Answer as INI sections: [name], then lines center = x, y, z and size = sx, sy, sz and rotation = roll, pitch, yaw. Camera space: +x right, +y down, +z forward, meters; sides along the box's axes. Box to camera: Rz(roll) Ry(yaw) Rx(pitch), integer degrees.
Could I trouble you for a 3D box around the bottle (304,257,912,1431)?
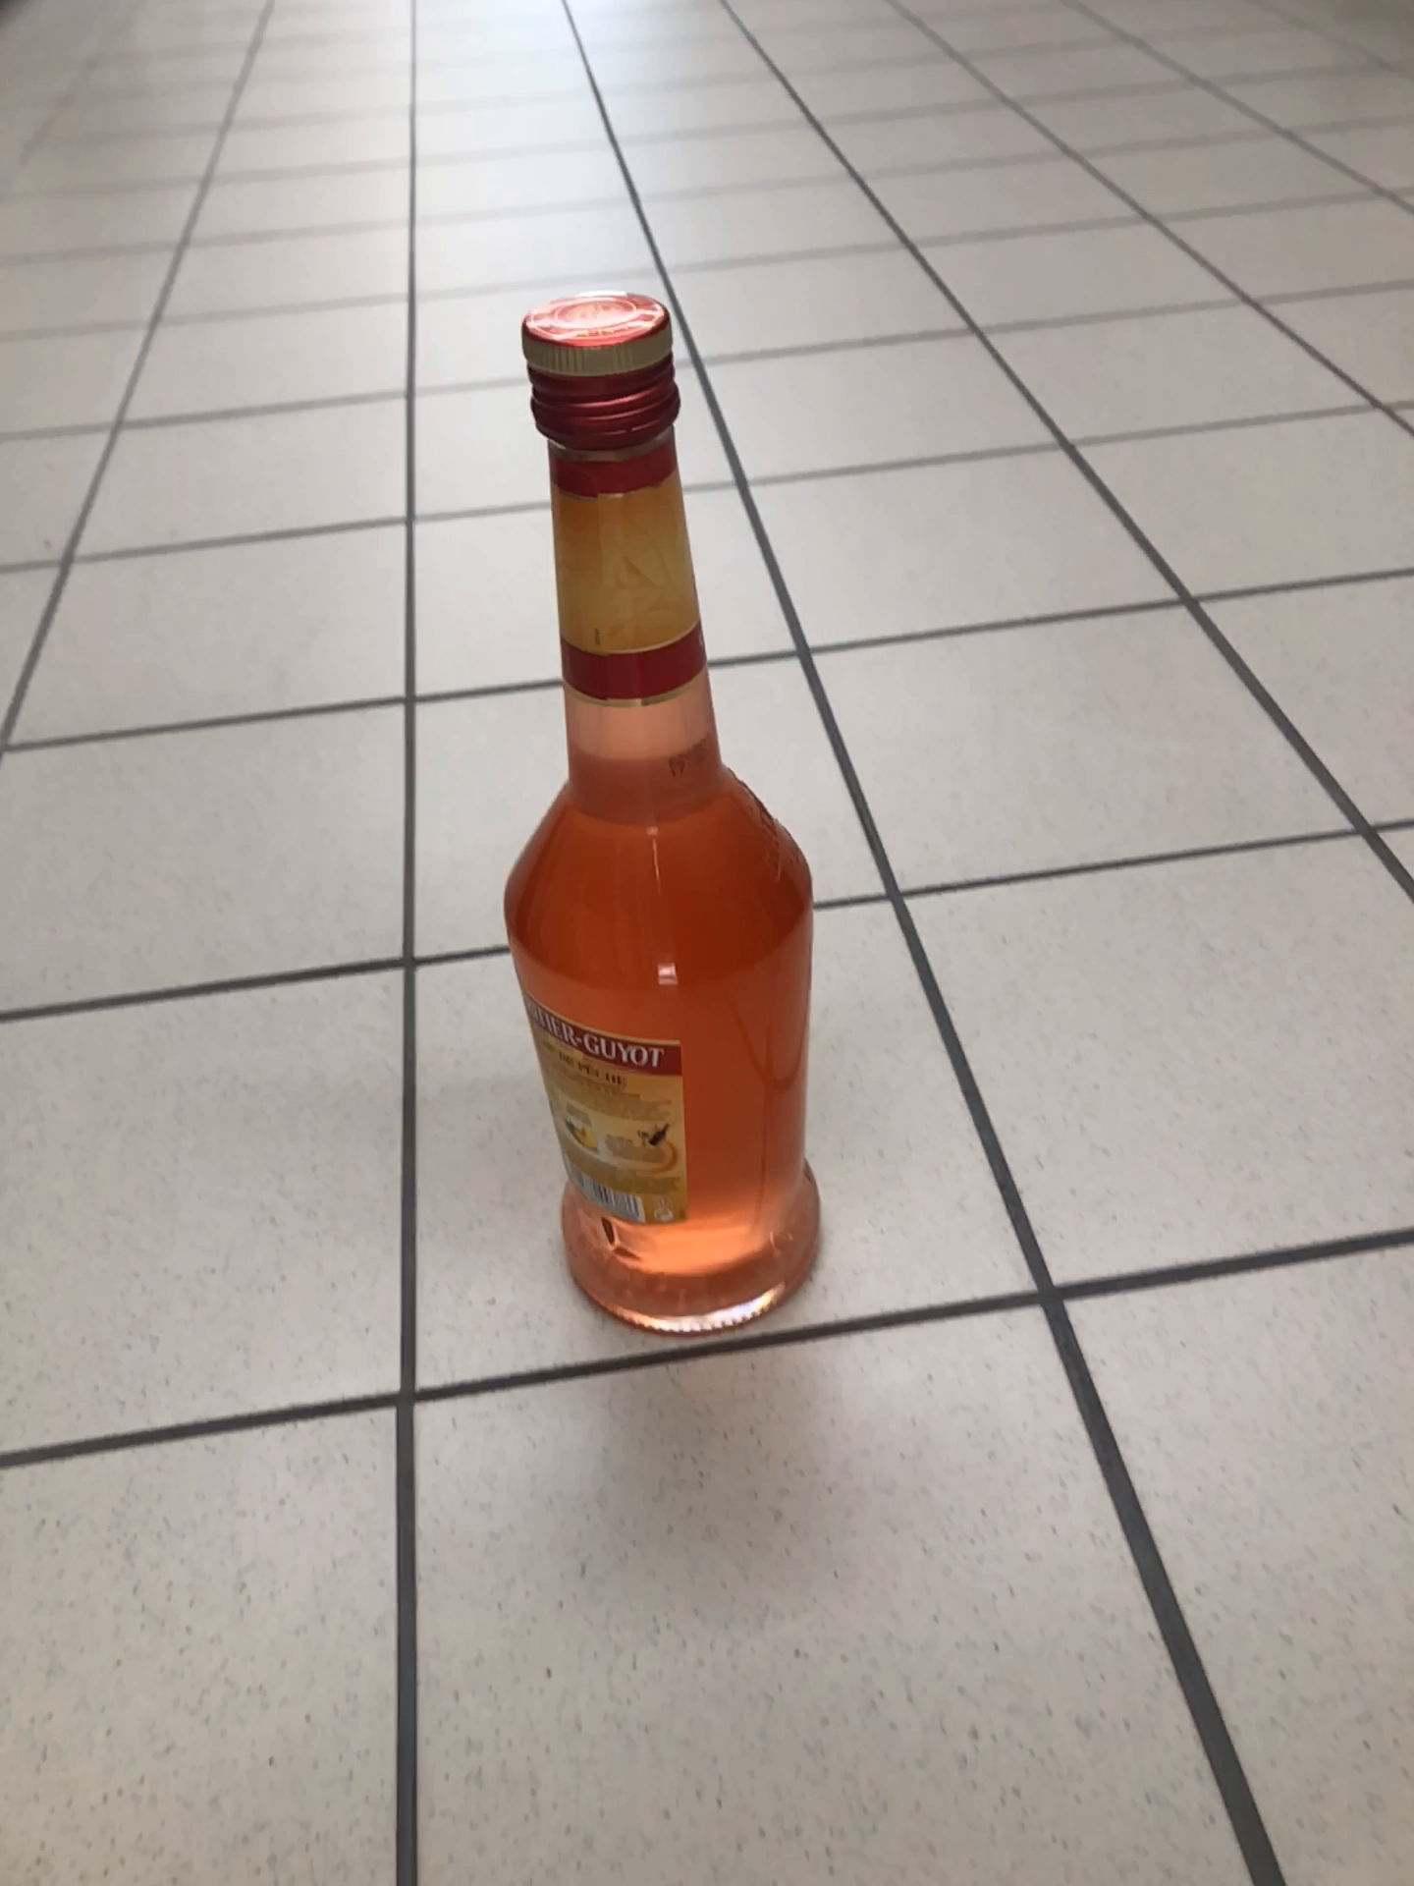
[bottle]
center = -0.012, -0.010, 0.420
size = 0.090, 0.298, 0.090
rotation = -2, 40, 2
